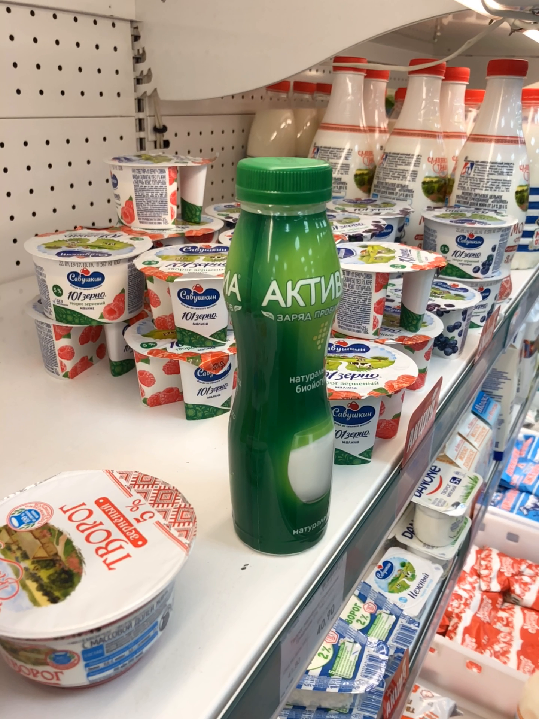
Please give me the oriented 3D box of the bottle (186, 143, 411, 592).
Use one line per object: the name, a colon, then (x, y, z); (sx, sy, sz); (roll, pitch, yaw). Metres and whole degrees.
bottle: (0.010, 0.002, 0.280); (0.060, 0.189, 0.070); (22, 31, 40)
